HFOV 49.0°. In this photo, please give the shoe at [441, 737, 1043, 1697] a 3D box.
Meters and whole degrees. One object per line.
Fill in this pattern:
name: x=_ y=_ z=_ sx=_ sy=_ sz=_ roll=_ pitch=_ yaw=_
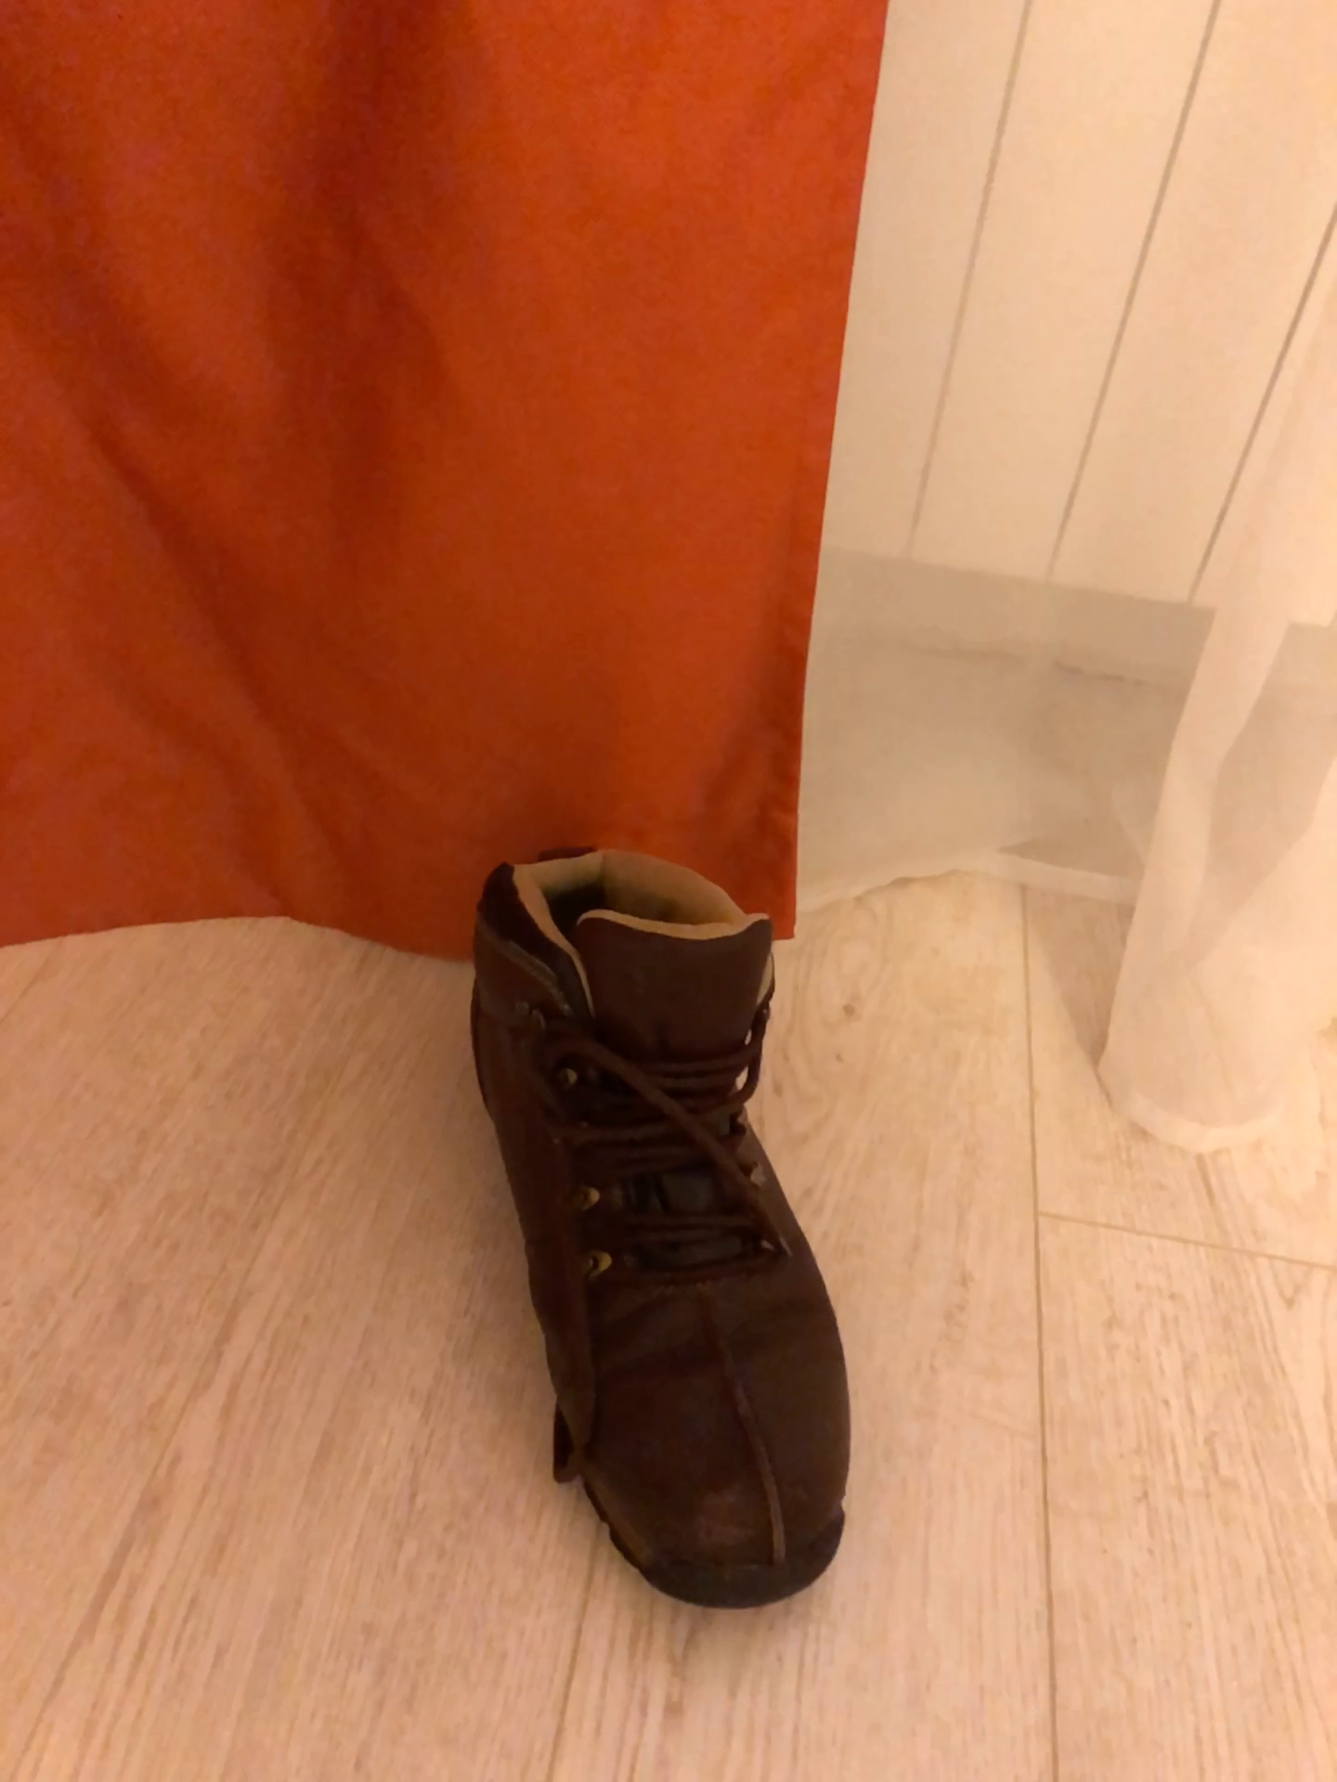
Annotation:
shoe: x=-0.001 y=0.097 z=0.547 sx=0.110 sy=0.159 sz=0.302 roll=-7 pitch=41 yaw=-17
